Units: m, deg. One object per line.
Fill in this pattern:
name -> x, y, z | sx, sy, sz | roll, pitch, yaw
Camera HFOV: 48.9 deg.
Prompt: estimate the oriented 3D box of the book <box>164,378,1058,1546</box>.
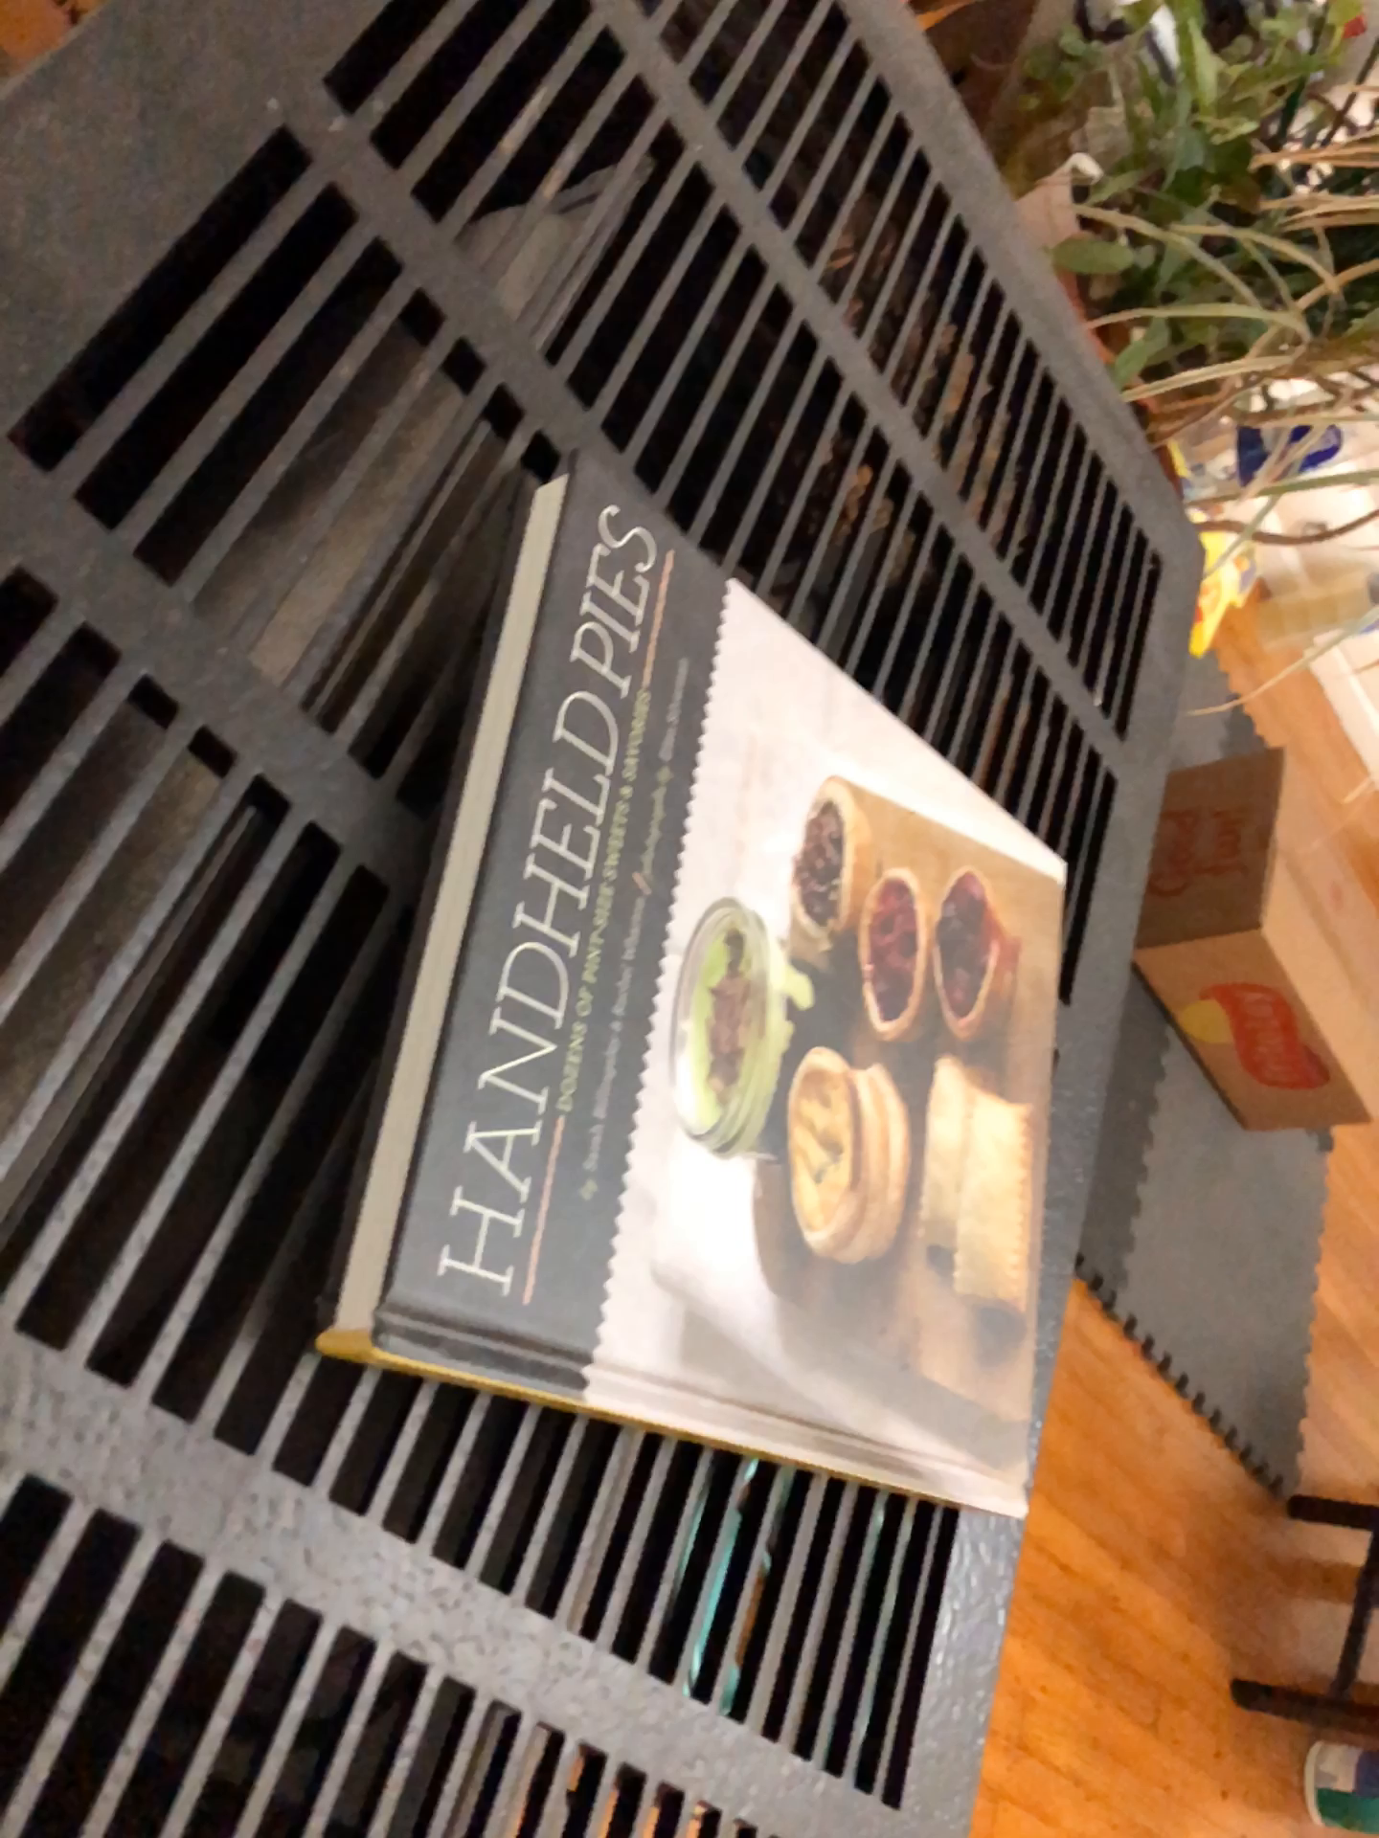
book -> 0.013, 0.026, 0.356 | 0.231, 0.020, 0.200 | 30, 60, -41
